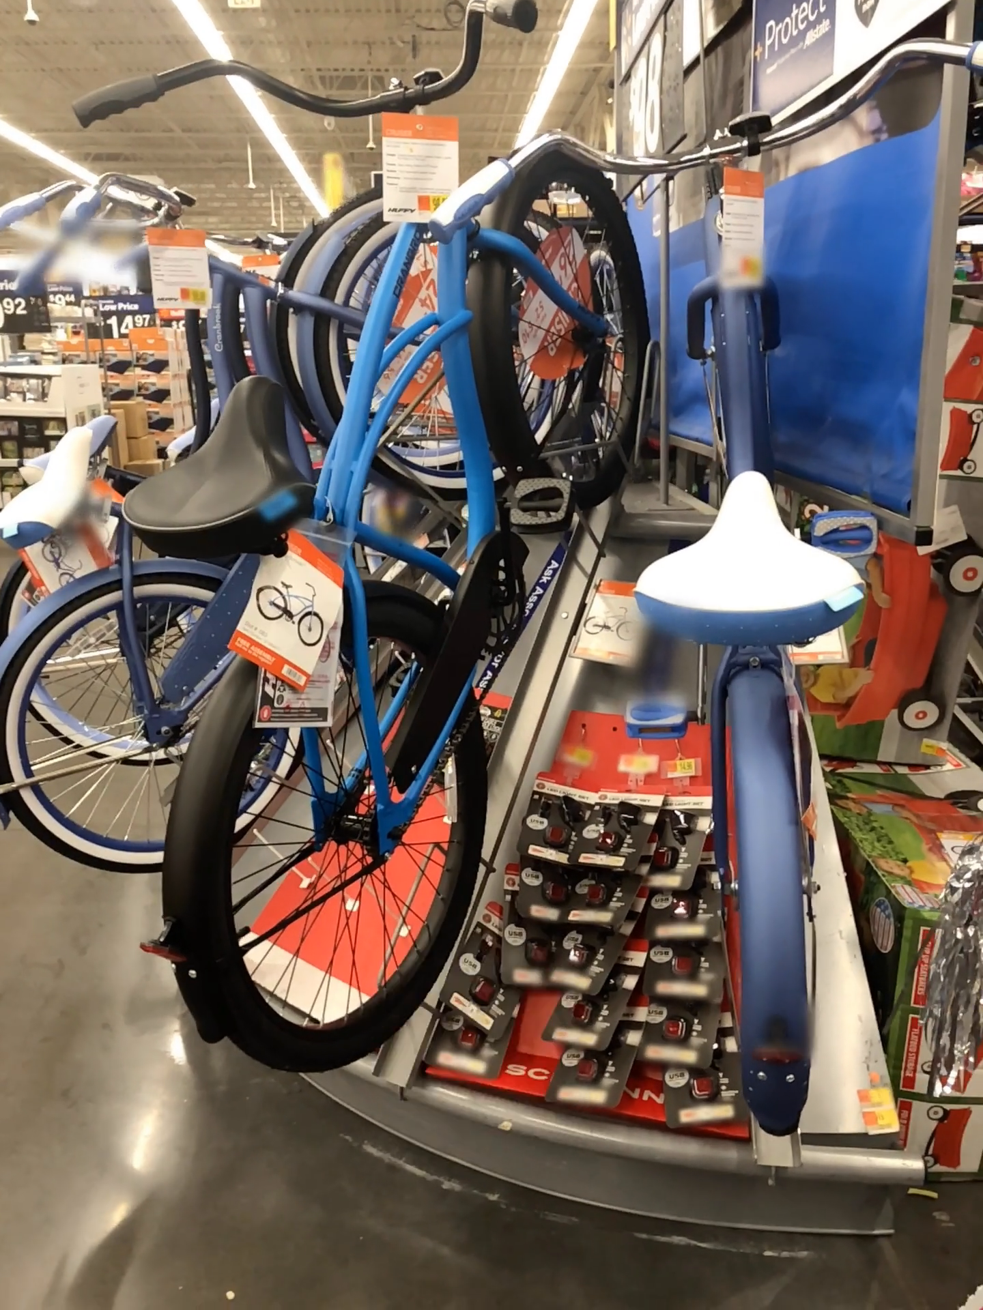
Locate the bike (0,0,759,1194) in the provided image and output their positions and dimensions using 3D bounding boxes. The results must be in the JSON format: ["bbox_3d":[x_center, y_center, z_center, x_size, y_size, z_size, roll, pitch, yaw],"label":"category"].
[{"bbox_3d":[-0.058,-0.688,1.543,0.505,1.120,1.565,7,44,25],"label":"bike"}]
